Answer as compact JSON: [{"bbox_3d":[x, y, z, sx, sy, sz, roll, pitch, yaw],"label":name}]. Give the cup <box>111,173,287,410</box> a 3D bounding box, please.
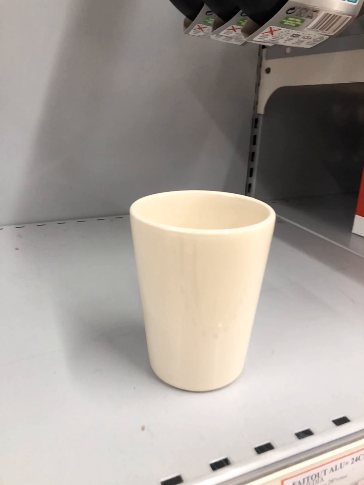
[{"bbox_3d":[0.014,0.019,0.259,0.082,0.099,0.120,5,21,7],"label":"cup"}]
